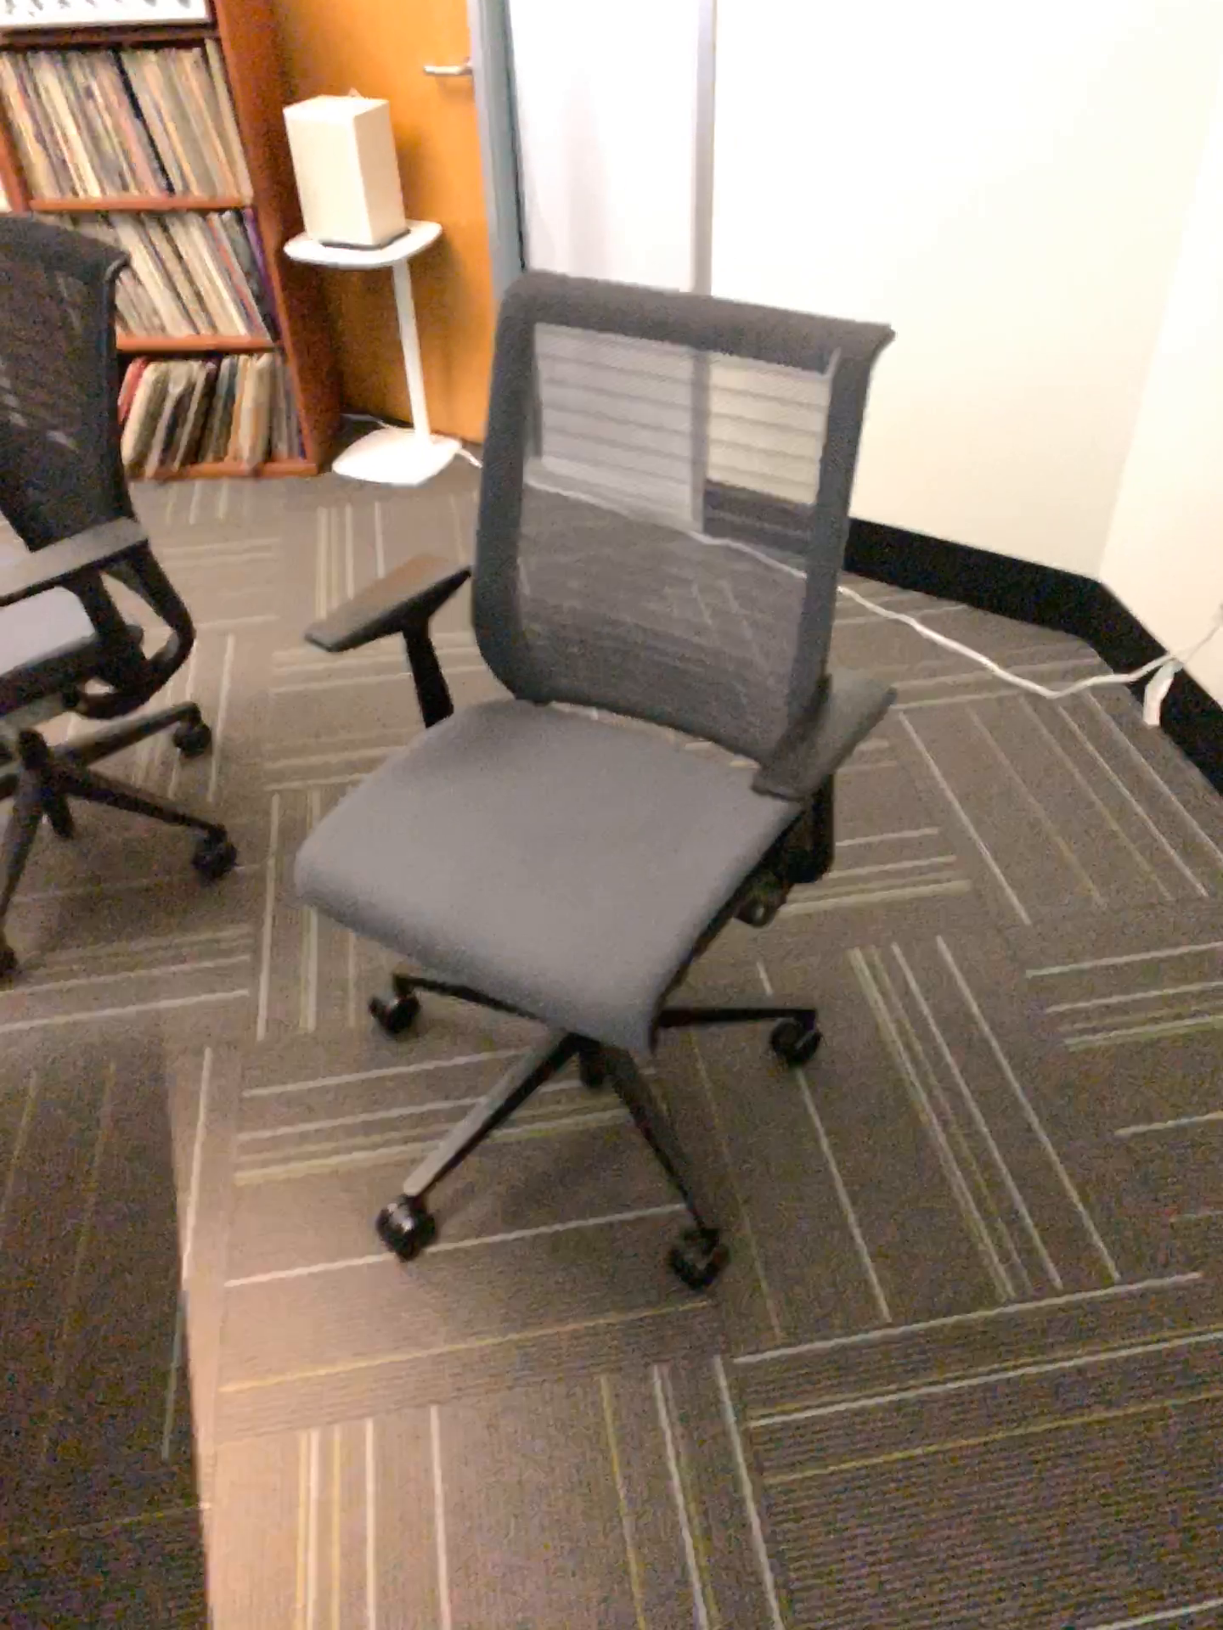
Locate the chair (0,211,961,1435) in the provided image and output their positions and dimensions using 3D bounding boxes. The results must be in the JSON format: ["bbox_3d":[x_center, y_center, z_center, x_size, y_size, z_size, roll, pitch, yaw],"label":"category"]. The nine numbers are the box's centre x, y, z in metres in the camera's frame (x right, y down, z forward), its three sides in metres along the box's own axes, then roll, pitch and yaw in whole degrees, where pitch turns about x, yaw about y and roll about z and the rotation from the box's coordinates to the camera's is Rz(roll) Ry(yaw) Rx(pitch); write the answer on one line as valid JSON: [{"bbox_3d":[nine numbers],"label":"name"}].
[{"bbox_3d":[-0.145,-0.016,1.553,0.792,1.113,0.803,17,44,22],"label":"chair"}]
